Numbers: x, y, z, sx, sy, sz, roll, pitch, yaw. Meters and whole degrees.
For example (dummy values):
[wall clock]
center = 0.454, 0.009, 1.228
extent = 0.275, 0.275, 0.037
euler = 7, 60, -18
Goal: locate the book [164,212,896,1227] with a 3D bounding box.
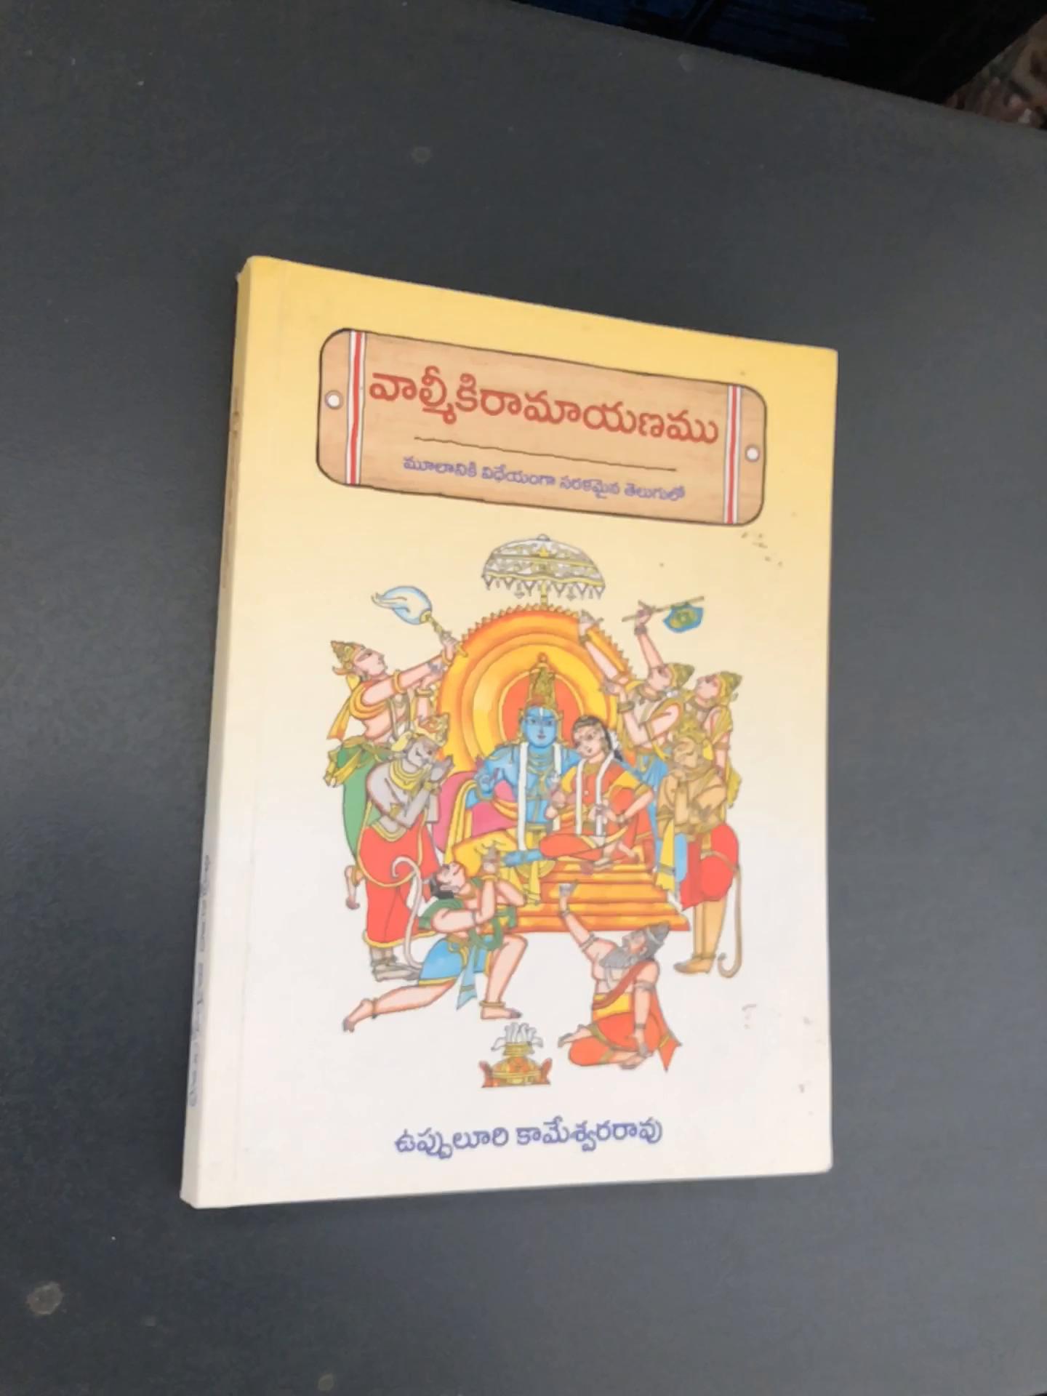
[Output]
[book]
center = 0.012, 0.007, 0.313
extent = 0.190, 0.020, 0.240
euler = 4, 83, -17
